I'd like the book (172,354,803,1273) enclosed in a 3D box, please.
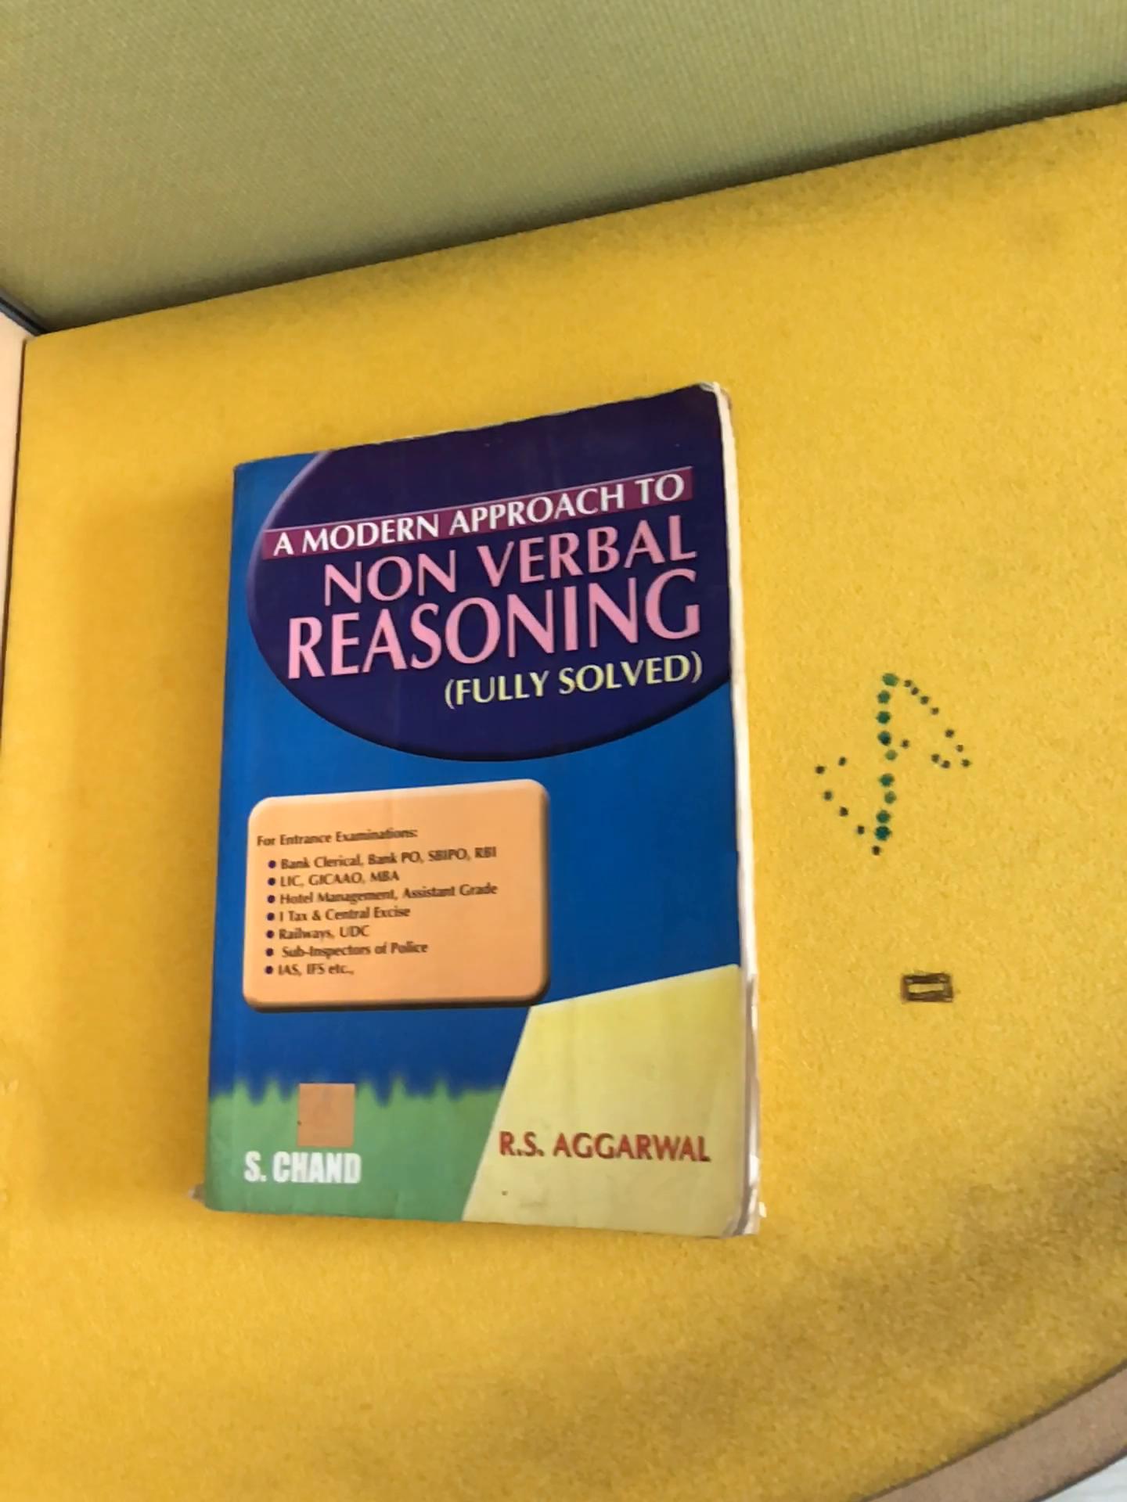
[{"bbox_3d":[-0.025,0.017,0.367,0.170,0.040,0.240,-5,78,18],"label":"book"}]
